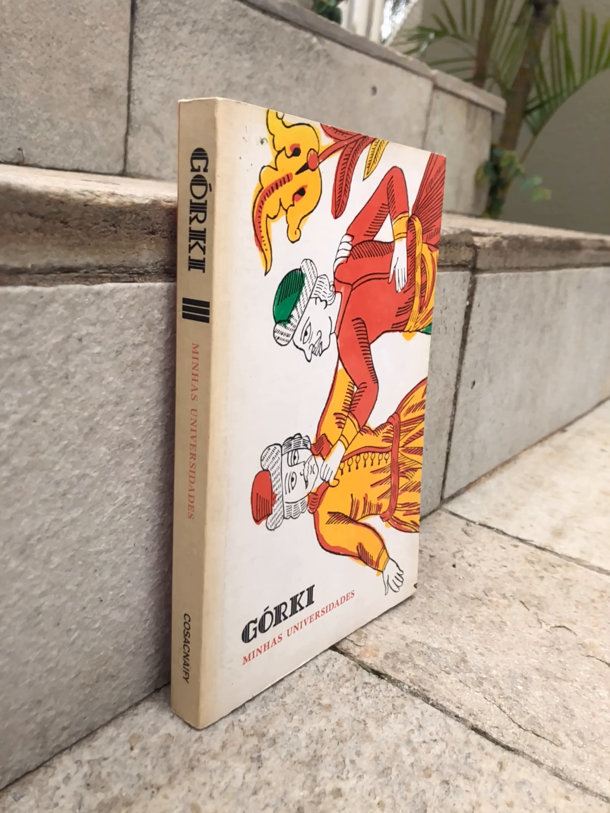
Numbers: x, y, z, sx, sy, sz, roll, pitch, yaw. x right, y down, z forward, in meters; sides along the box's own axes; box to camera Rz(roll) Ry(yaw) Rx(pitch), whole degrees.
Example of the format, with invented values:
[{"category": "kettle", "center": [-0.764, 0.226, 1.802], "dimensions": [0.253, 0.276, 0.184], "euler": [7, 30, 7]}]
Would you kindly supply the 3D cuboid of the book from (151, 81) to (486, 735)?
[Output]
[{"category": "book", "center": [0.011, -0.003, 0.253], "dimensions": [0.030, 0.189, 0.142], "euler": [14, 18, 39]}]
